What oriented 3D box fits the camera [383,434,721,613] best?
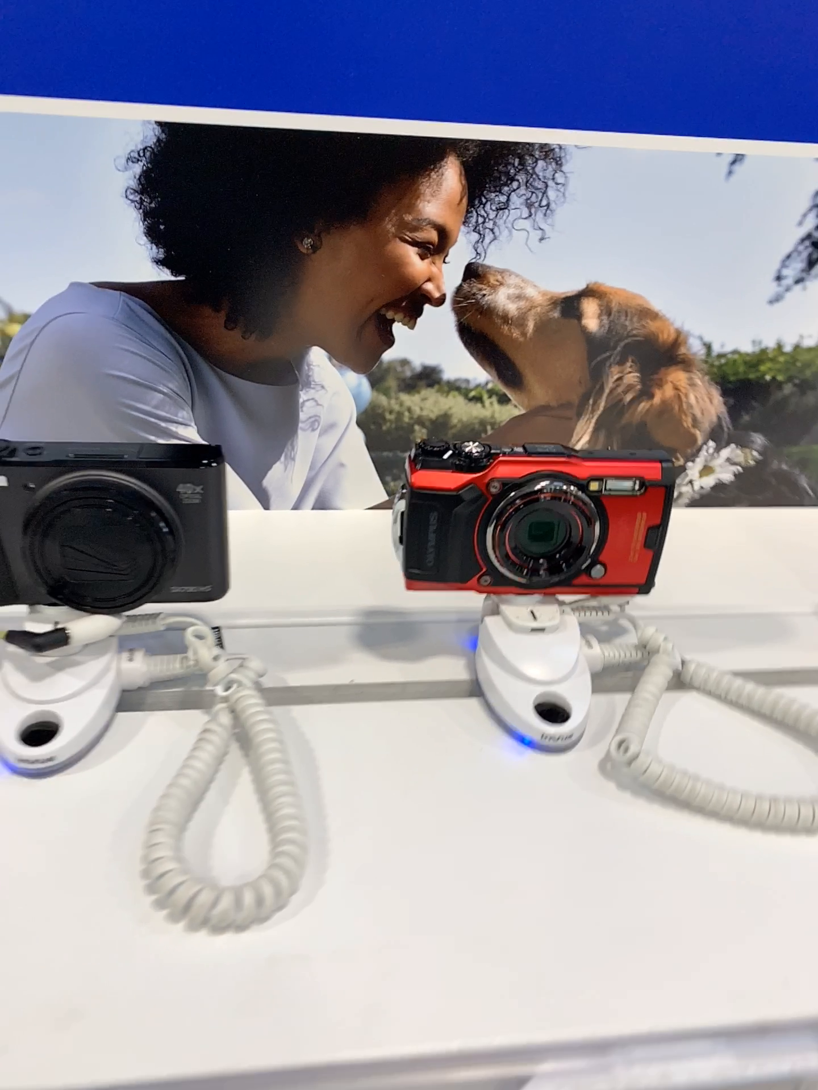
[{"bbox_3d":[0.057,-0.010,0.368,0.130,0.060,0.050,0,29,-8],"label":"camera"}]

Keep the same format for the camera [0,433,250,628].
[{"bbox_3d":[-0.127,-0.006,0.337,0.120,0.060,0.050,0,29,-8],"label":"camera"}]
